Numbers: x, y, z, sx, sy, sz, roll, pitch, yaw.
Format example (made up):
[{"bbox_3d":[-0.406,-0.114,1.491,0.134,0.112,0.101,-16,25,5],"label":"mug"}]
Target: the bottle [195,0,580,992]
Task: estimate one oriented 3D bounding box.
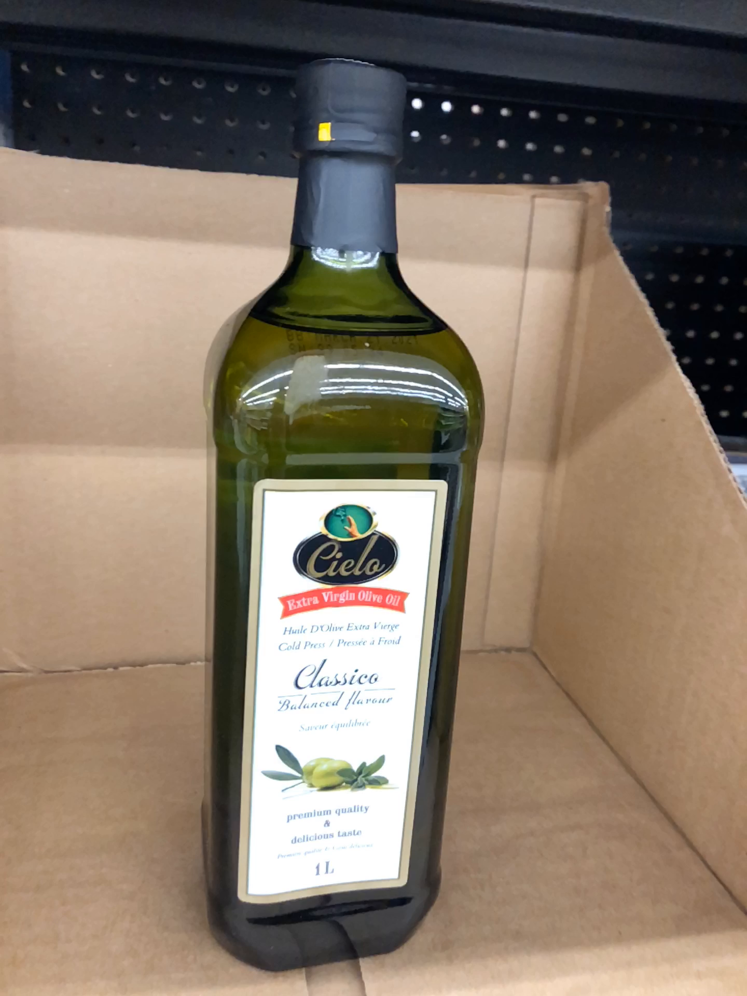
[{"bbox_3d":[-0.012,0.011,0.274,0.090,0.288,0.080,-1,19,-14],"label":"bottle"}]
